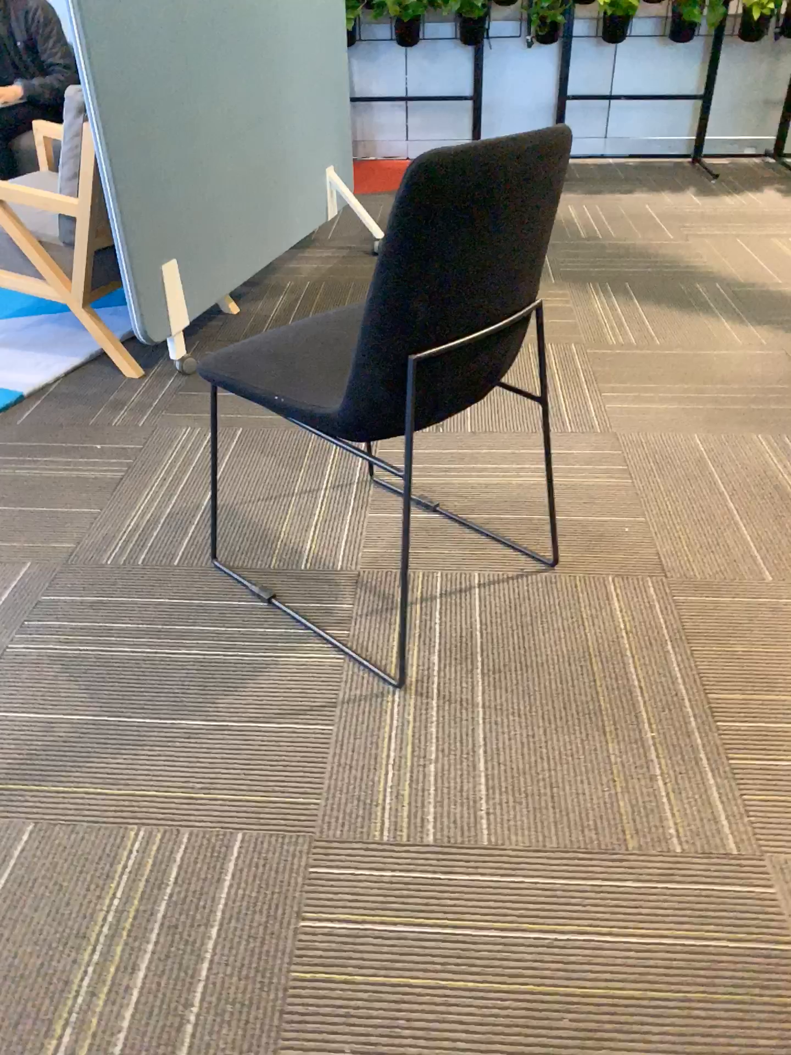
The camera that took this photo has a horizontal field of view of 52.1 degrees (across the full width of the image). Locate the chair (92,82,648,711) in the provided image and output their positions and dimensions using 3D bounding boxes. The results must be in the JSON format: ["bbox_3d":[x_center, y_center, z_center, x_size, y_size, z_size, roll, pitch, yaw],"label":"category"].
[{"bbox_3d":[-0.036,-0.250,1.296,0.573,0.745,0.491,28,44,36],"label":"chair"}]
